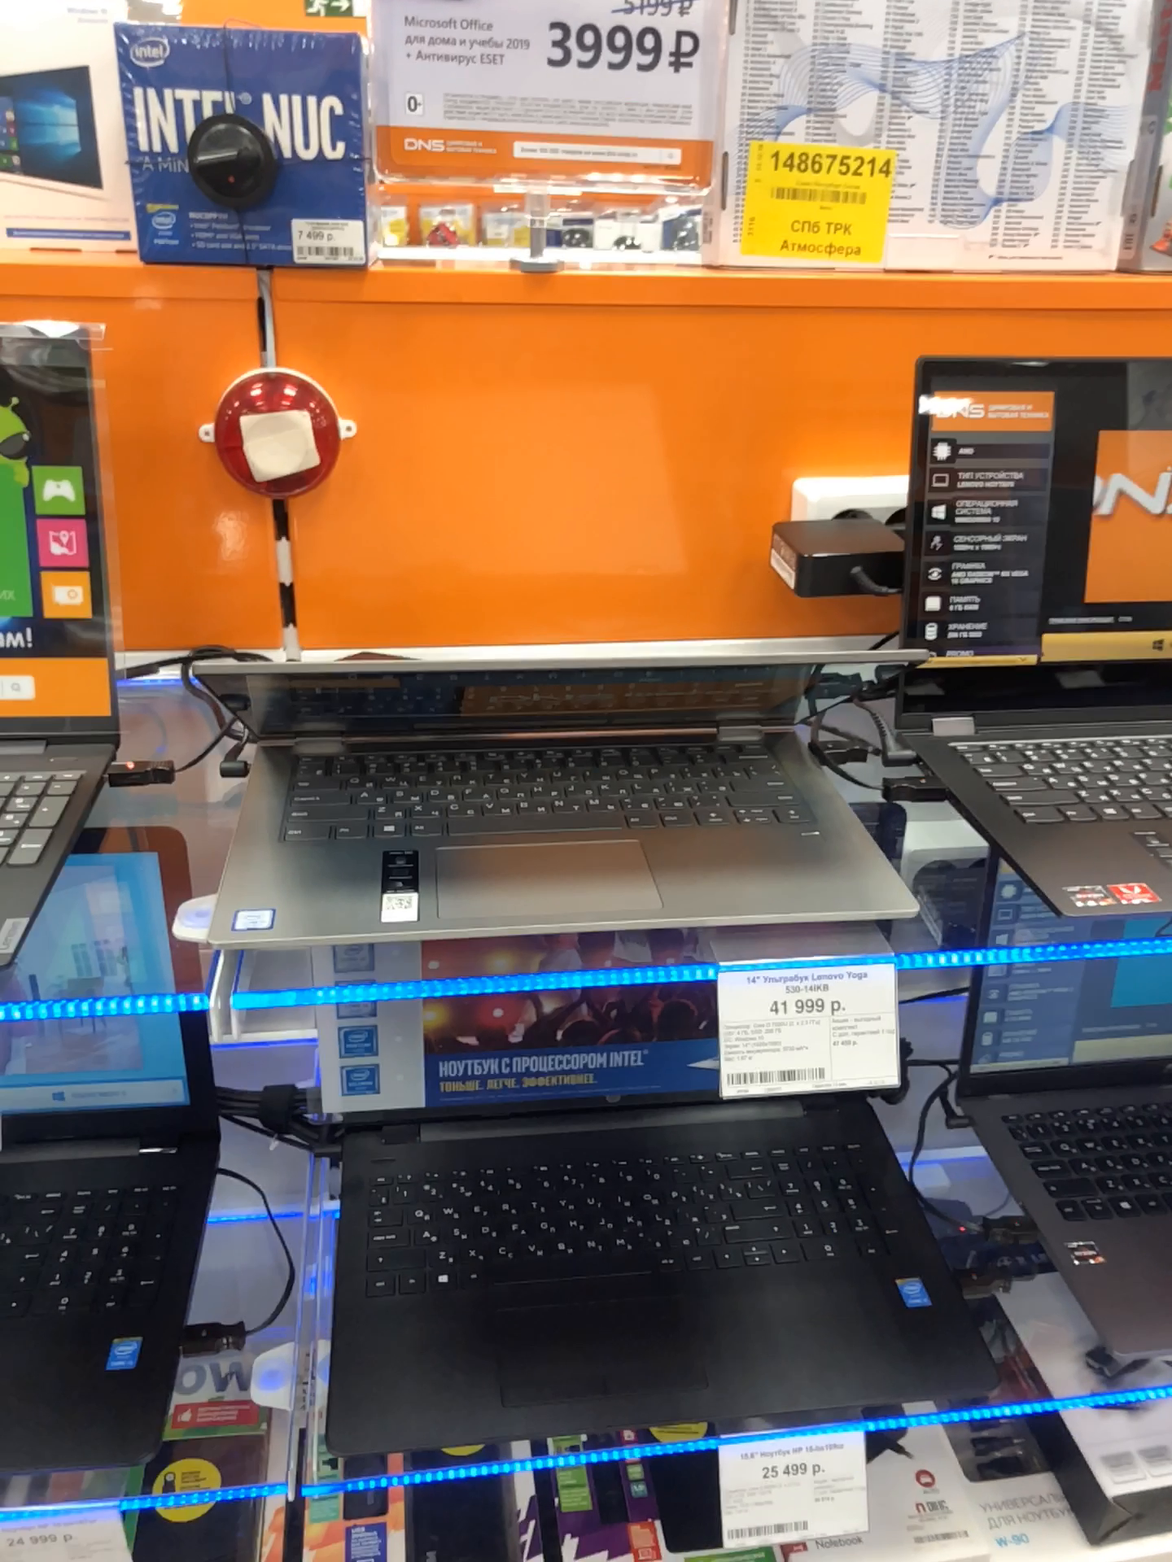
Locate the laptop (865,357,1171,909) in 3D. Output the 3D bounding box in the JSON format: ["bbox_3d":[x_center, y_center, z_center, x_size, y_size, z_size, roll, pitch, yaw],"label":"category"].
[{"bbox_3d":[0.369,-0.093,0.681,0.327,0.210,0.247,-2,26,-10],"label":"laptop"}]

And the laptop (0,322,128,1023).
[{"bbox_3d":[-0.416,-0.074,0.576,0.329,0.219,0.277,-2,25,-9],"label":"laptop"}]

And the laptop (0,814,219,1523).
[{"bbox_3d":[-0.403,0.186,0.697,0.332,0.222,0.244,-1,28,-8],"label":"laptop"}]

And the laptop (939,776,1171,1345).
[{"bbox_3d":[0.450,0.159,0.805,0.329,0.228,0.236,-3,26,-9],"label":"laptop"}]

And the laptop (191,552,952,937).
[{"bbox_3d":[-0.015,-0.032,0.644,0.313,0.110,0.211,-1,26,-8],"label":"laptop"}]

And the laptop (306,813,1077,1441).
[{"bbox_3d":[0.032,0.181,0.757,0.361,0.223,0.261,-2,25,-7],"label":"laptop"}]
